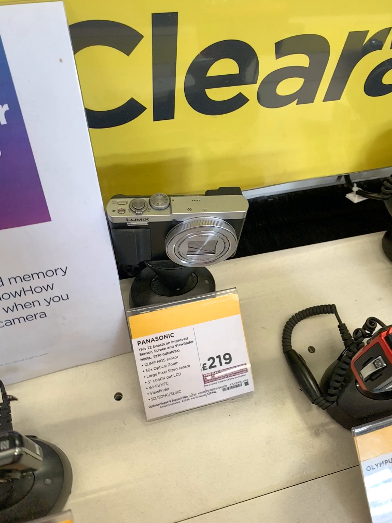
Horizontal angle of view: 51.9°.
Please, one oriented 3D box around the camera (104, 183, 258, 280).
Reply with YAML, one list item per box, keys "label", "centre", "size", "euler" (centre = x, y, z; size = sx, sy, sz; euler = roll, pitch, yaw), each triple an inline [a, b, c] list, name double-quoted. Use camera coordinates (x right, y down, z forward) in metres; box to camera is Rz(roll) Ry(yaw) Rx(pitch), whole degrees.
- label: "camera"
  centre: [-0.014, -0.023, 0.328]
  size: [0.110, 0.069, 0.040]
  euler: [-3, 57, -7]
